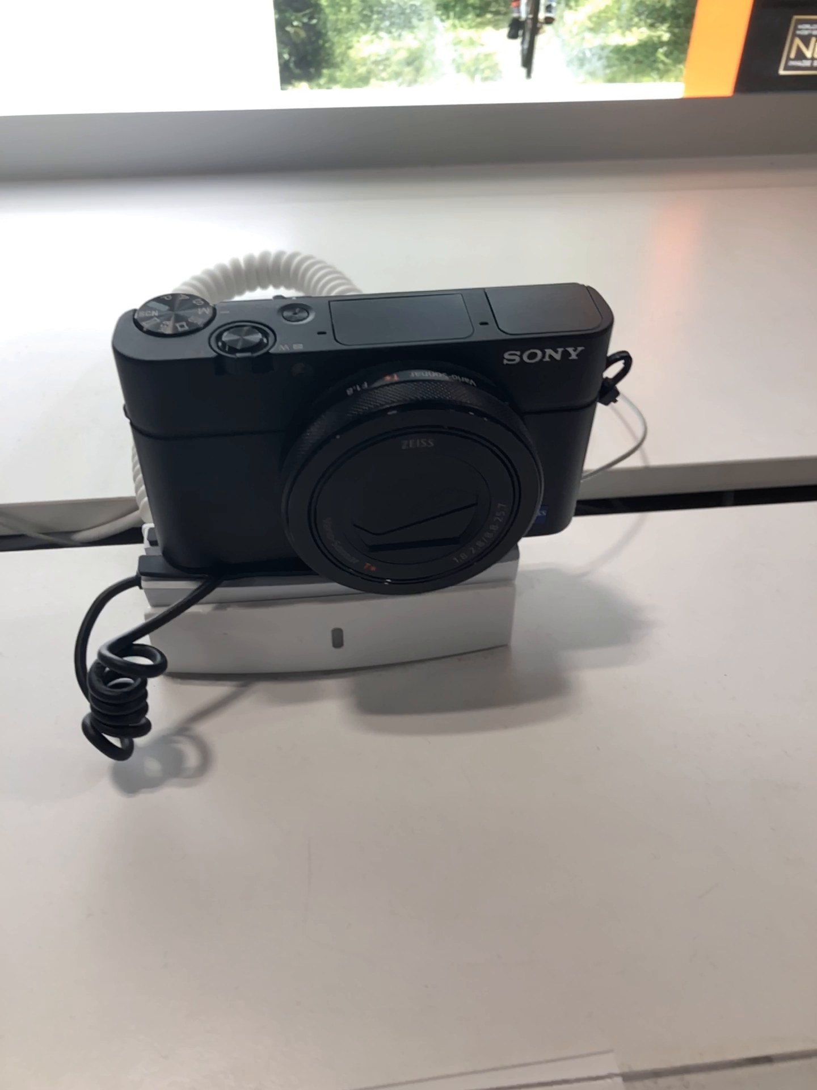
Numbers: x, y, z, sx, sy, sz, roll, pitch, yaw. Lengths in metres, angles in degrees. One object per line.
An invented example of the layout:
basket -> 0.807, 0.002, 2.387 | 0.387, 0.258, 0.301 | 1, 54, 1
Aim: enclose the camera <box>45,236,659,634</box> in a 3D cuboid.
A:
camera -> -0.011, -0.024, 0.201 | 0.110, 0.070, 0.040 | -5, 43, -6
